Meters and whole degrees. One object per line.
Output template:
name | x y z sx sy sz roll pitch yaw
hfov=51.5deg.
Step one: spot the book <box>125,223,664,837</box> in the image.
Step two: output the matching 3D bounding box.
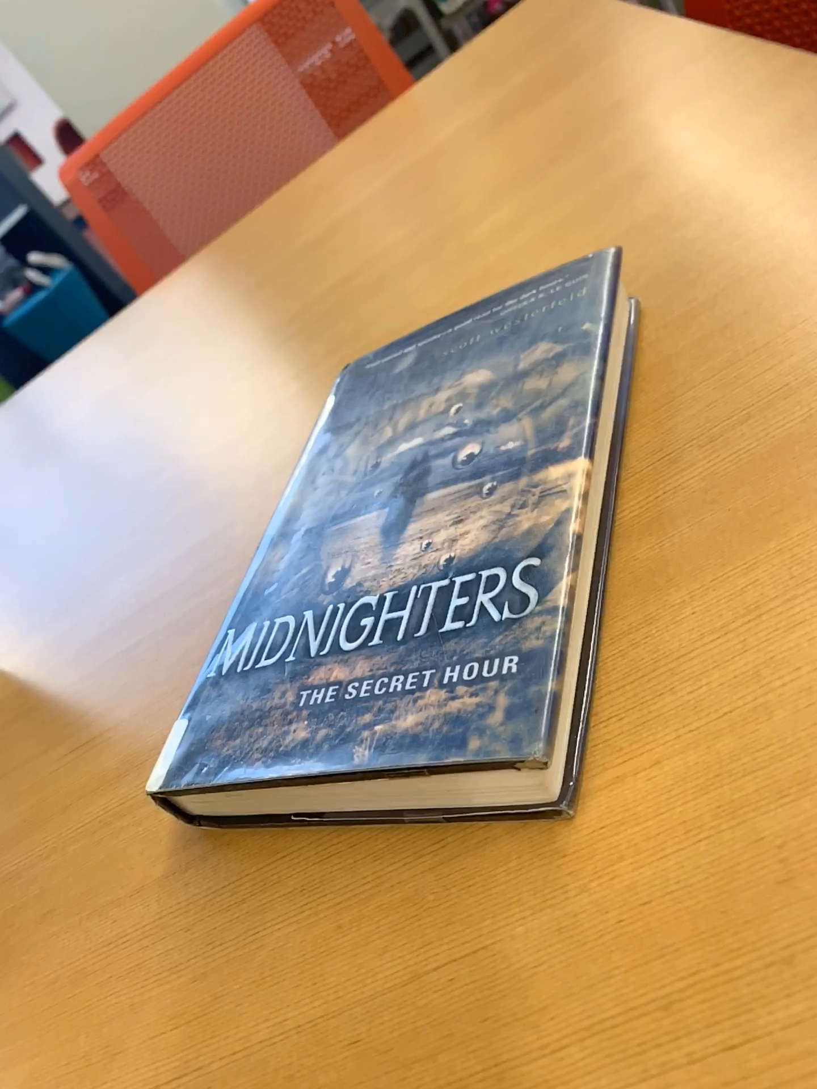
book | 0.005 -0.010 0.303 0.152 0.035 0.221 -15 43 35
